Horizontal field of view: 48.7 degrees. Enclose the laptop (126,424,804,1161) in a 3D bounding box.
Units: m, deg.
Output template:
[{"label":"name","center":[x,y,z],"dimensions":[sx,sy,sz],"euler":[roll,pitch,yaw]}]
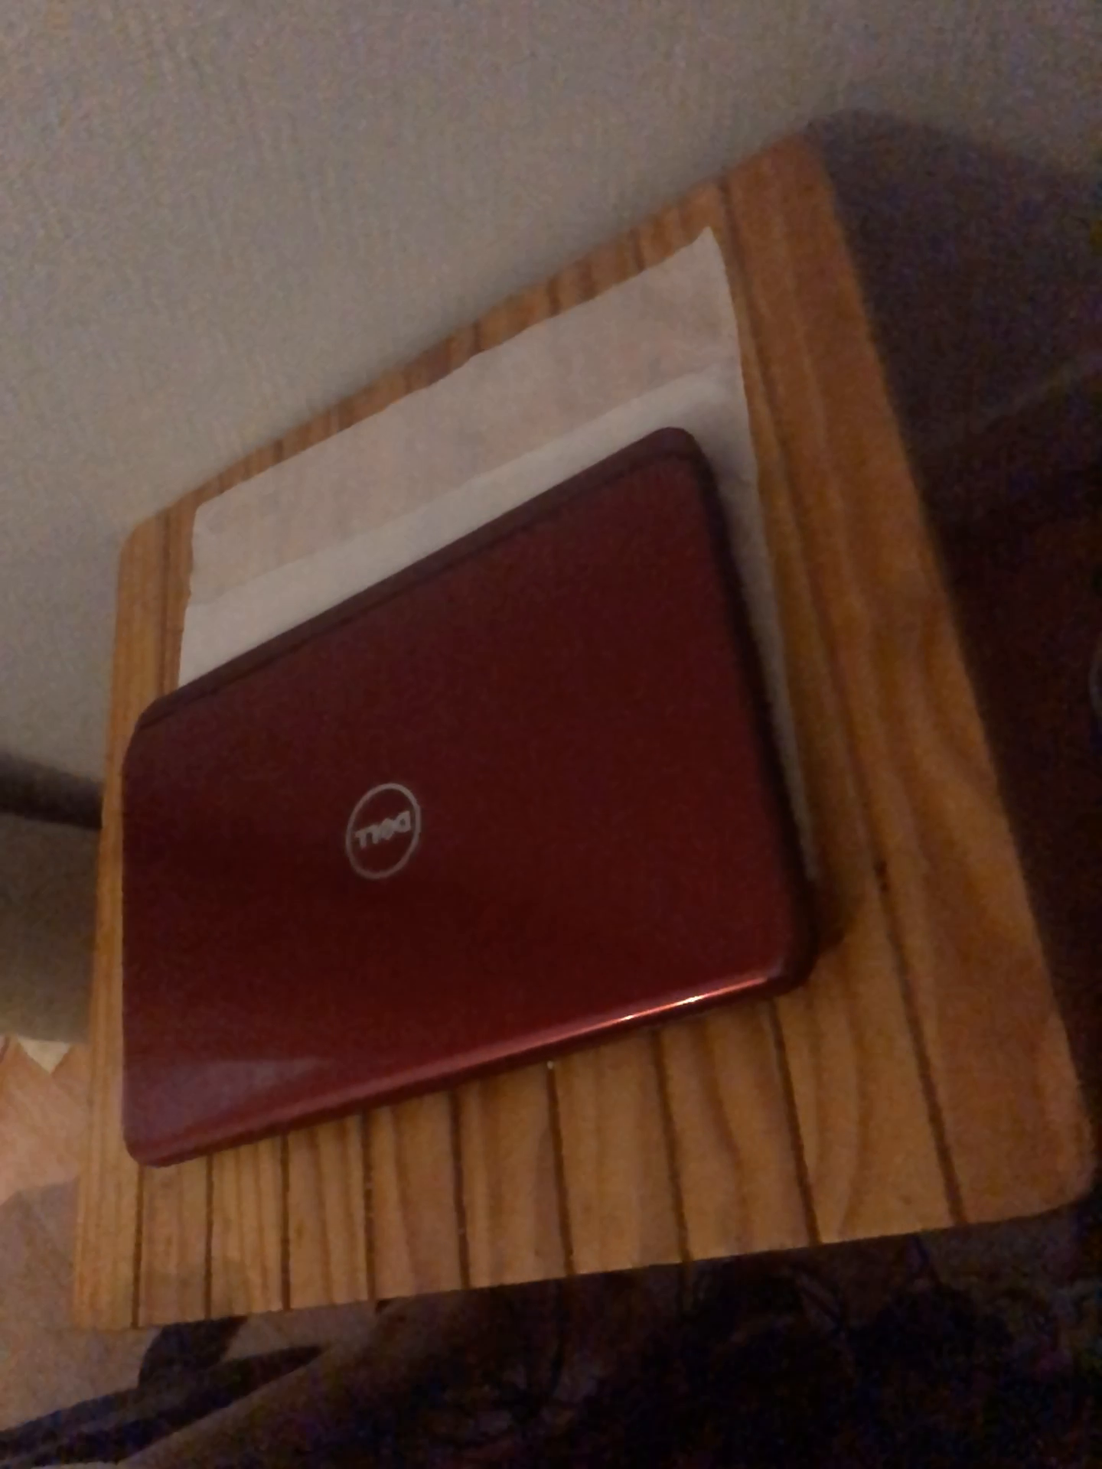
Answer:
[{"label":"laptop","center":[-0.078,0.039,0.576],"dimensions":[0.366,0.011,0.247],"euler":[-24,61,28]}]
